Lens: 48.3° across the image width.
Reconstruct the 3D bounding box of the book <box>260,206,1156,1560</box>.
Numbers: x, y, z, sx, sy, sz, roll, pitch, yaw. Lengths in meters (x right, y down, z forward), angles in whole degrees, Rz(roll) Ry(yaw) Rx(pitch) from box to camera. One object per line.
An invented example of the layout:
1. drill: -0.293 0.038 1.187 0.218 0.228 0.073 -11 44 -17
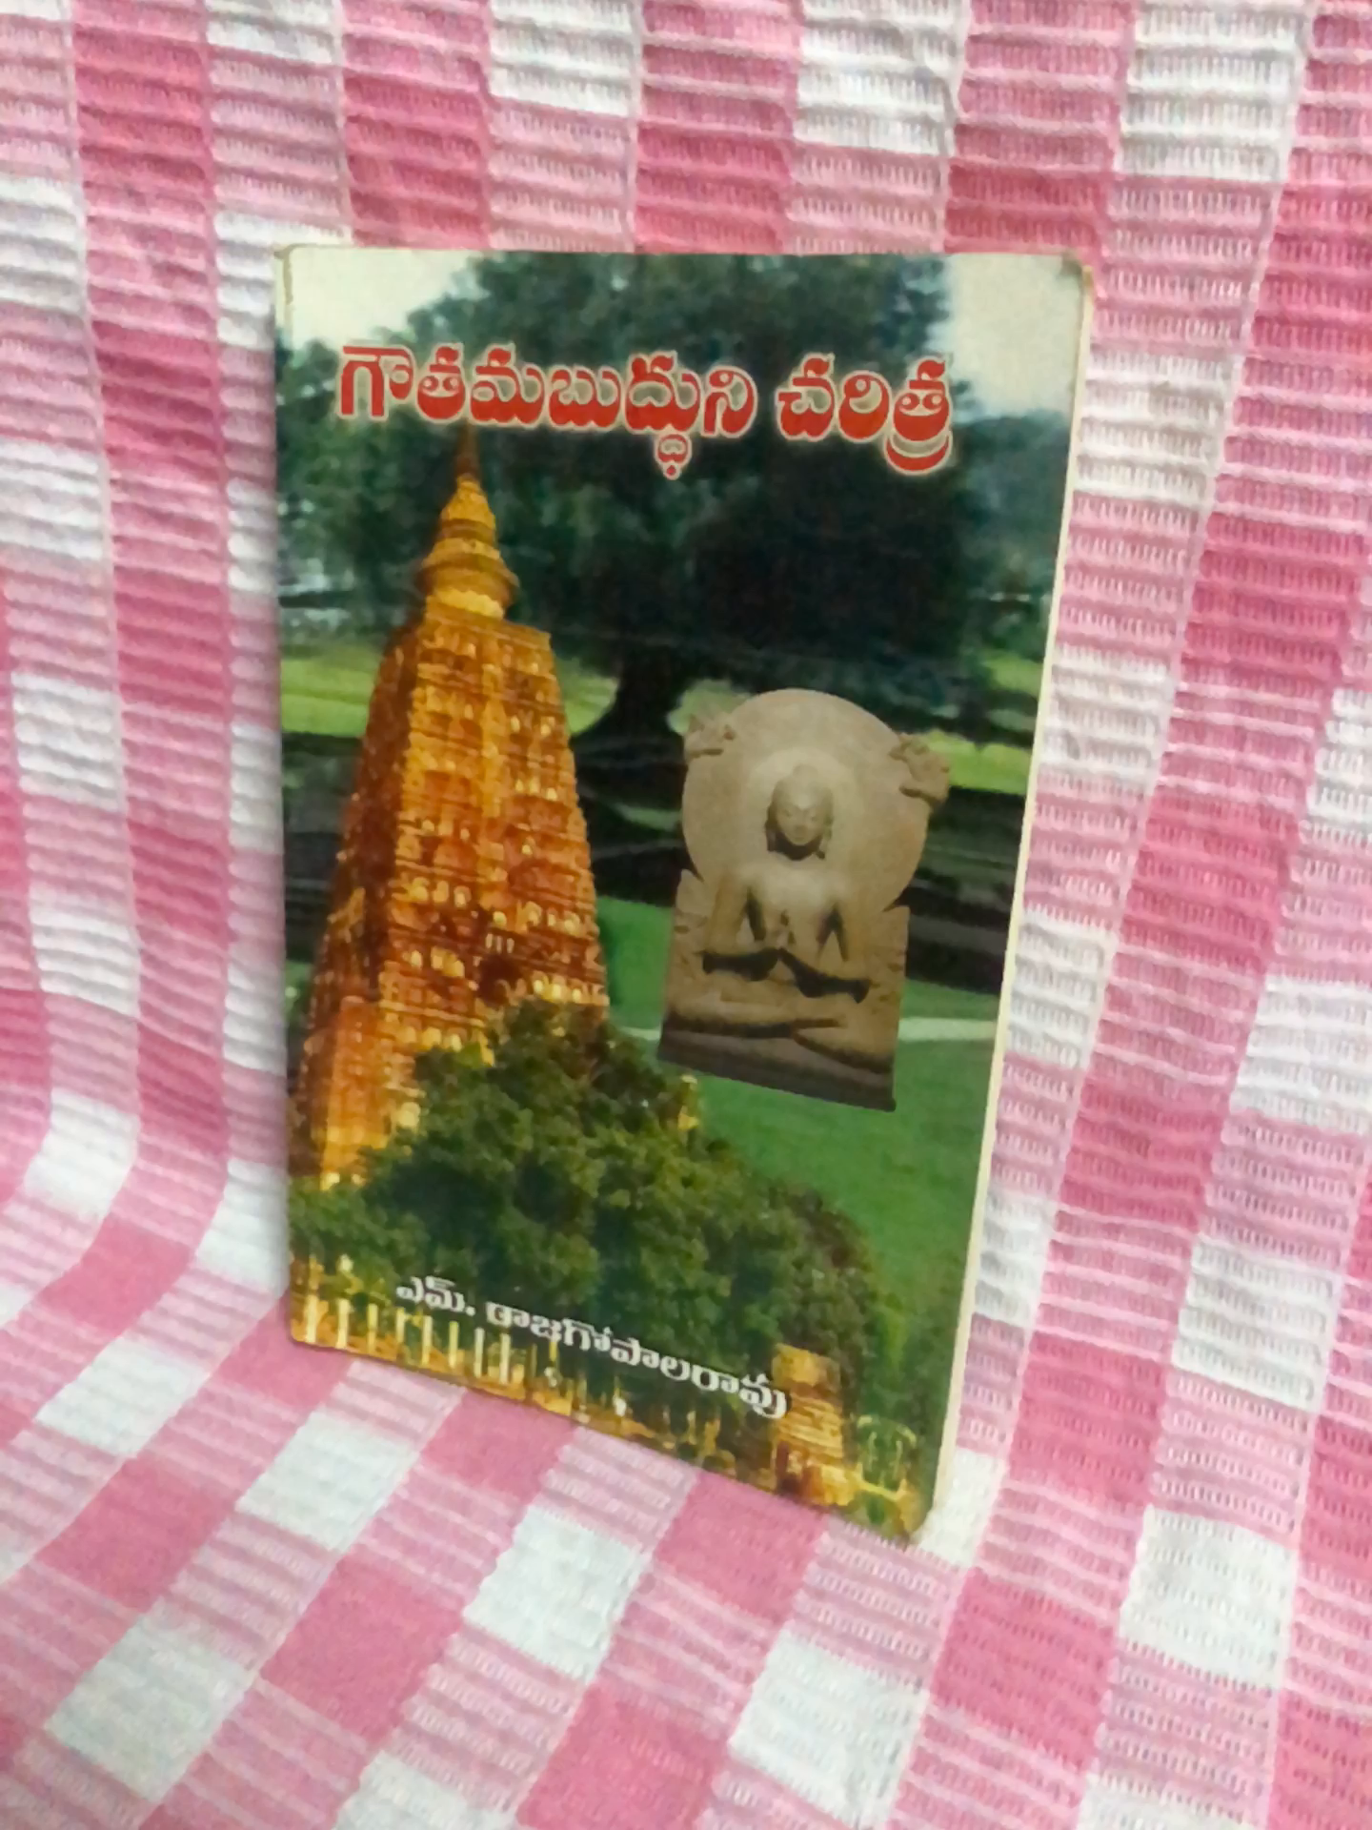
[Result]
1. book: -0.007 -0.009 0.271 0.140 0.209 0.030 11 15 23
